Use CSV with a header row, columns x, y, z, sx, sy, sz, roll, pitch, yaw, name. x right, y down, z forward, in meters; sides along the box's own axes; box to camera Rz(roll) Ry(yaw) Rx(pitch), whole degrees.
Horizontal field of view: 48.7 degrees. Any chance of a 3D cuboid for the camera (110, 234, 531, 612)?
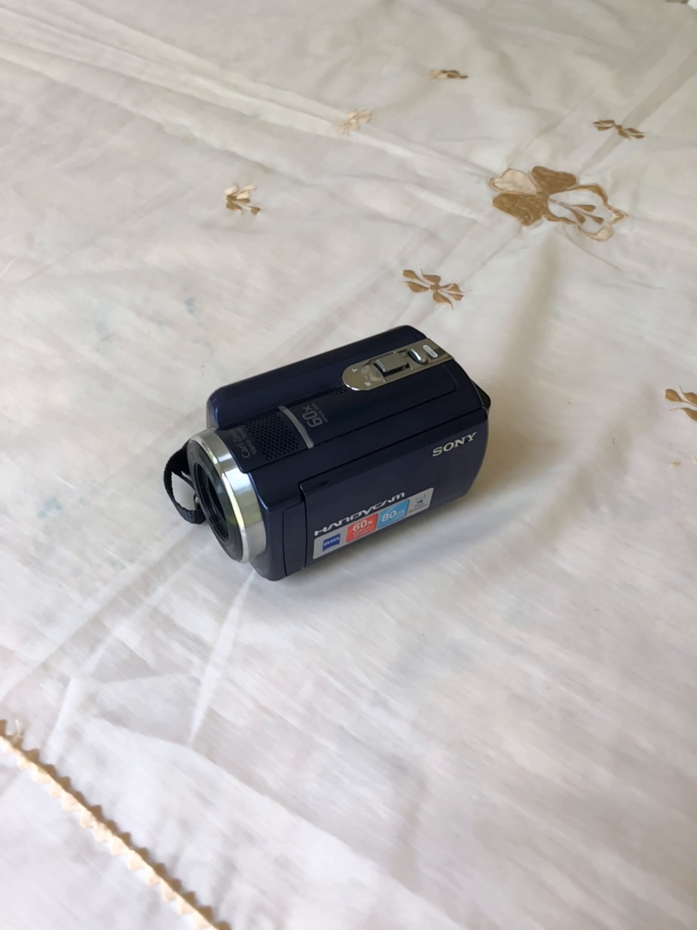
x,y,z,sx,sy,sz,roll,pitch,yaw,name
-0.012,-0.022,0.296,0.119,0.070,0.090,-22,51,-22,camera
